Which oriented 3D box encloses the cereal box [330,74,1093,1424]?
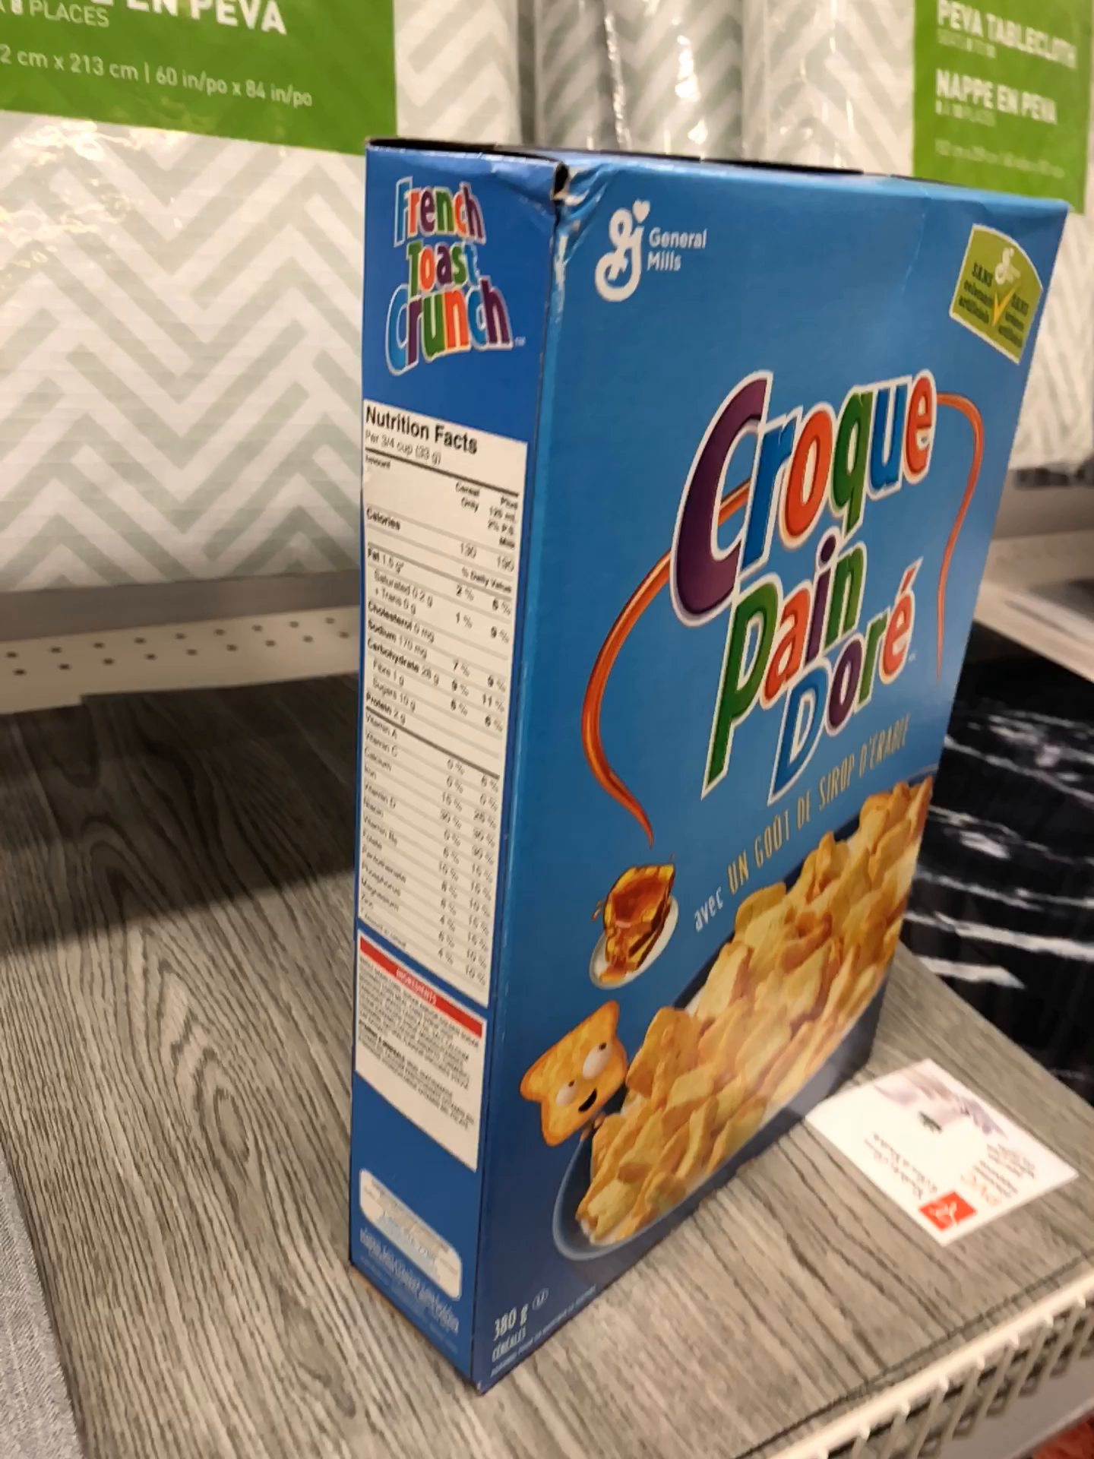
[{"bbox_3d":[0.044,0.000,0.318,0.050,0.279,0.210,24,30,38],"label":"cereal box"}]
